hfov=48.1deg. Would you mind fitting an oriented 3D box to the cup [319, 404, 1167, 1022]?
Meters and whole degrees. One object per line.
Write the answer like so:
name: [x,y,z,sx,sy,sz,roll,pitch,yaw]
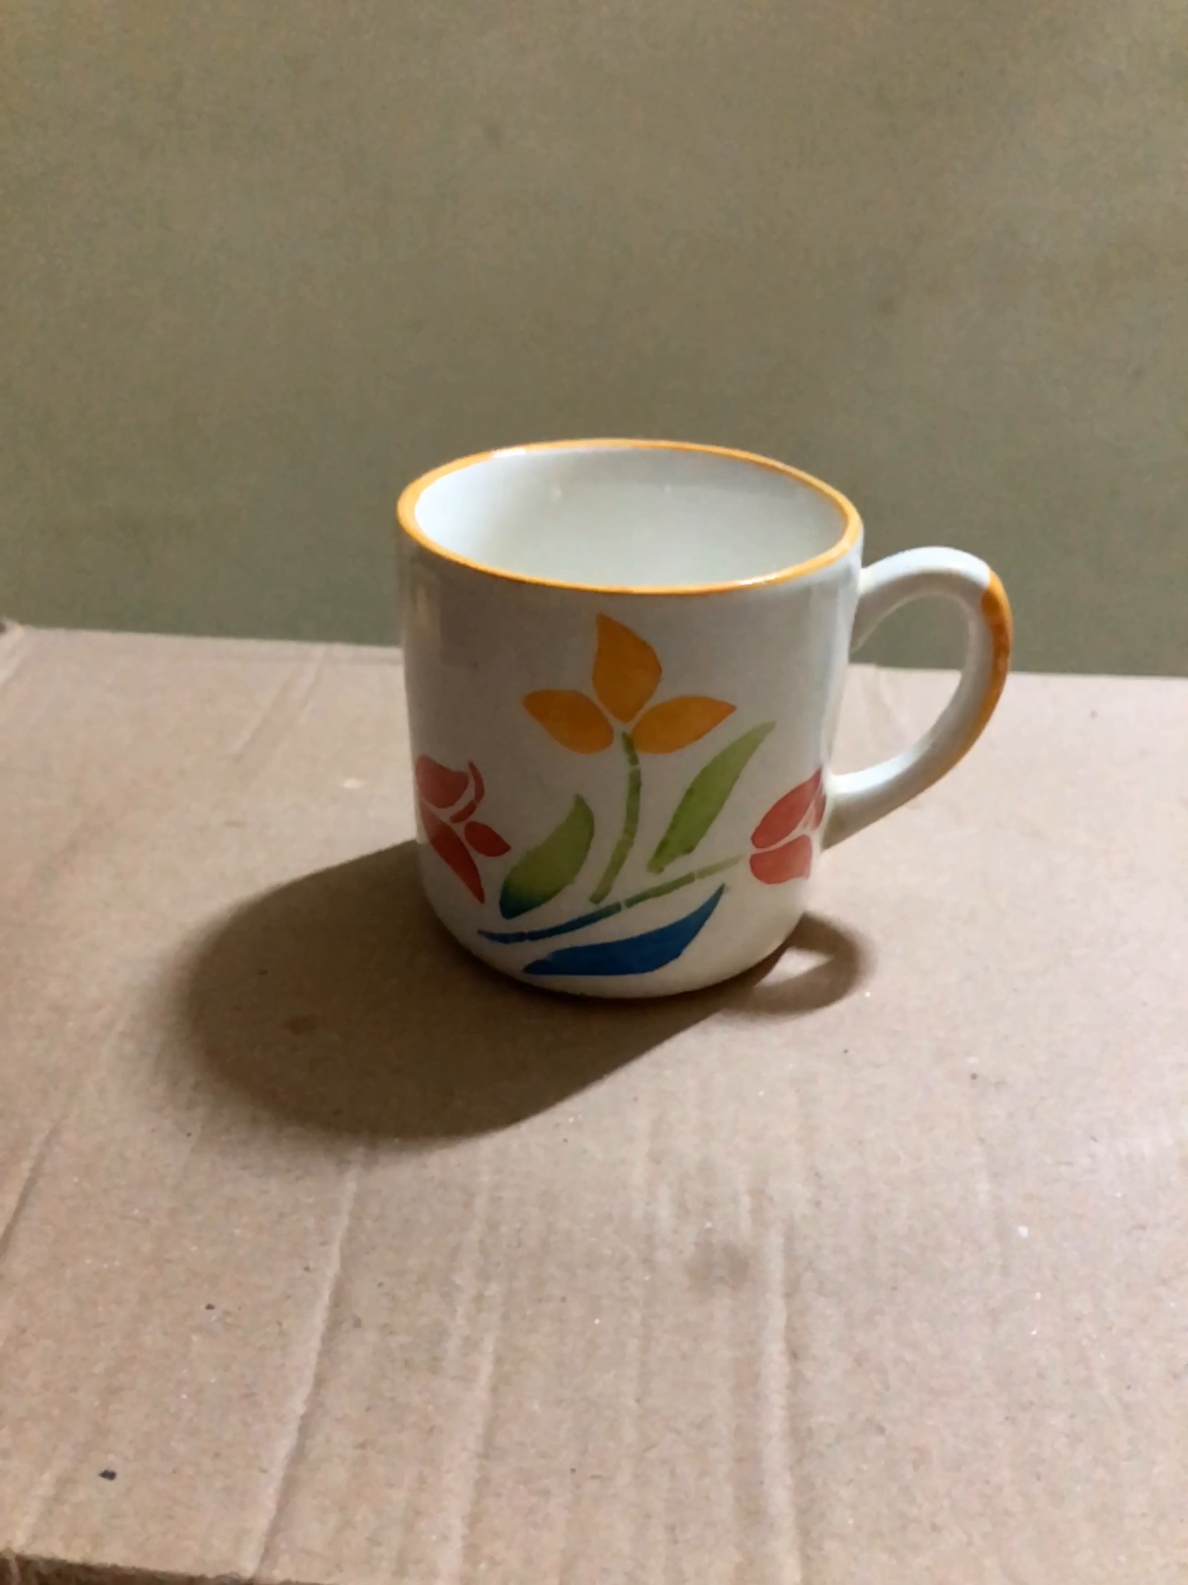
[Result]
cup: [0.020,-0.020,0.245,0.120,0.080,0.091,-2,27,-2]
